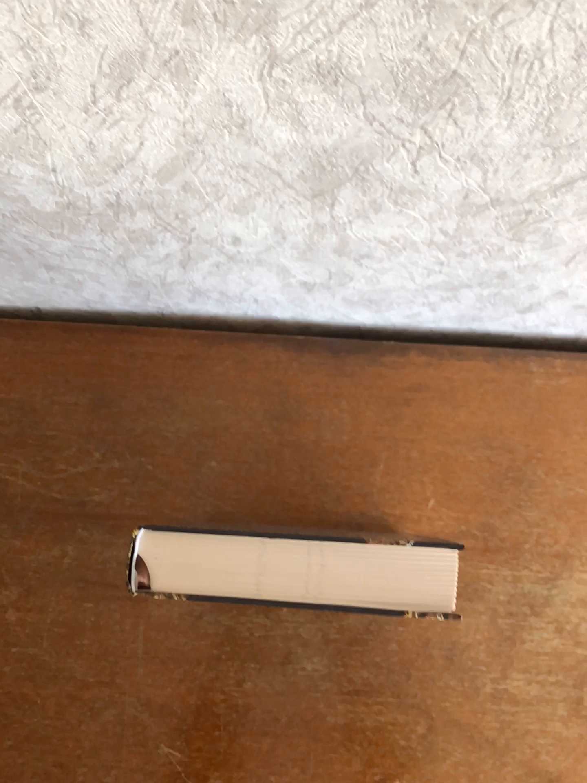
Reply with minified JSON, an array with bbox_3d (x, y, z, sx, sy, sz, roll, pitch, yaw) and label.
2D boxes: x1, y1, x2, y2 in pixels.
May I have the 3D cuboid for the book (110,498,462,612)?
[{"bbox_3d":[0.000,0.103,0.423,0.166,0.229,0.041,4,77,2],"label":"book"}]
